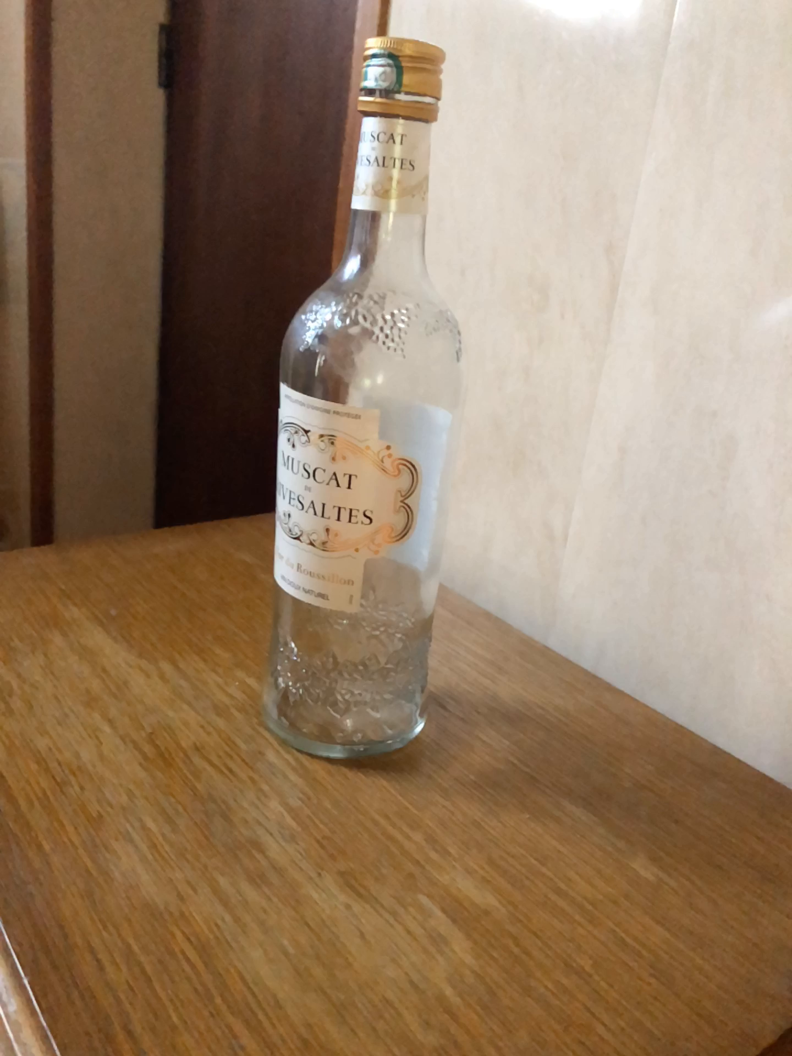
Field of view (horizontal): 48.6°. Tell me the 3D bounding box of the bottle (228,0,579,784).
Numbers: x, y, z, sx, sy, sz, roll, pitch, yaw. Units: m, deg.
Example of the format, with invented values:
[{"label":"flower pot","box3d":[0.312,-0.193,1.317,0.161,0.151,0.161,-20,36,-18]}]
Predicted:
[{"label":"bottle","box3d":[-0.005,-0.049,0.368,0.080,0.289,0.080,6,19,-2]}]
